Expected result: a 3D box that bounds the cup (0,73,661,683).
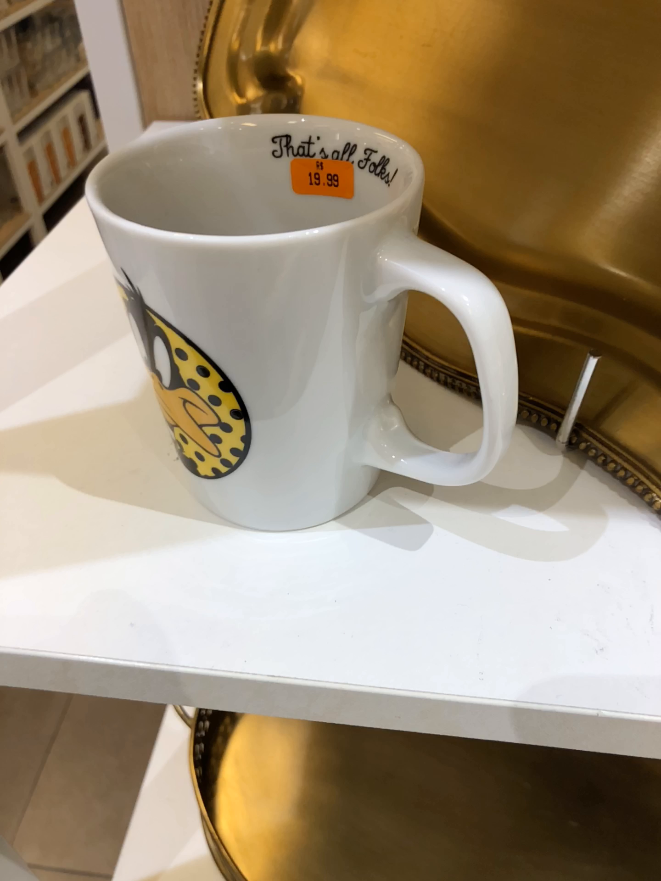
[{"bbox_3d":[-0.001,-0.026,0.191,0.120,0.089,0.090,25,48,27],"label":"cup"}]
